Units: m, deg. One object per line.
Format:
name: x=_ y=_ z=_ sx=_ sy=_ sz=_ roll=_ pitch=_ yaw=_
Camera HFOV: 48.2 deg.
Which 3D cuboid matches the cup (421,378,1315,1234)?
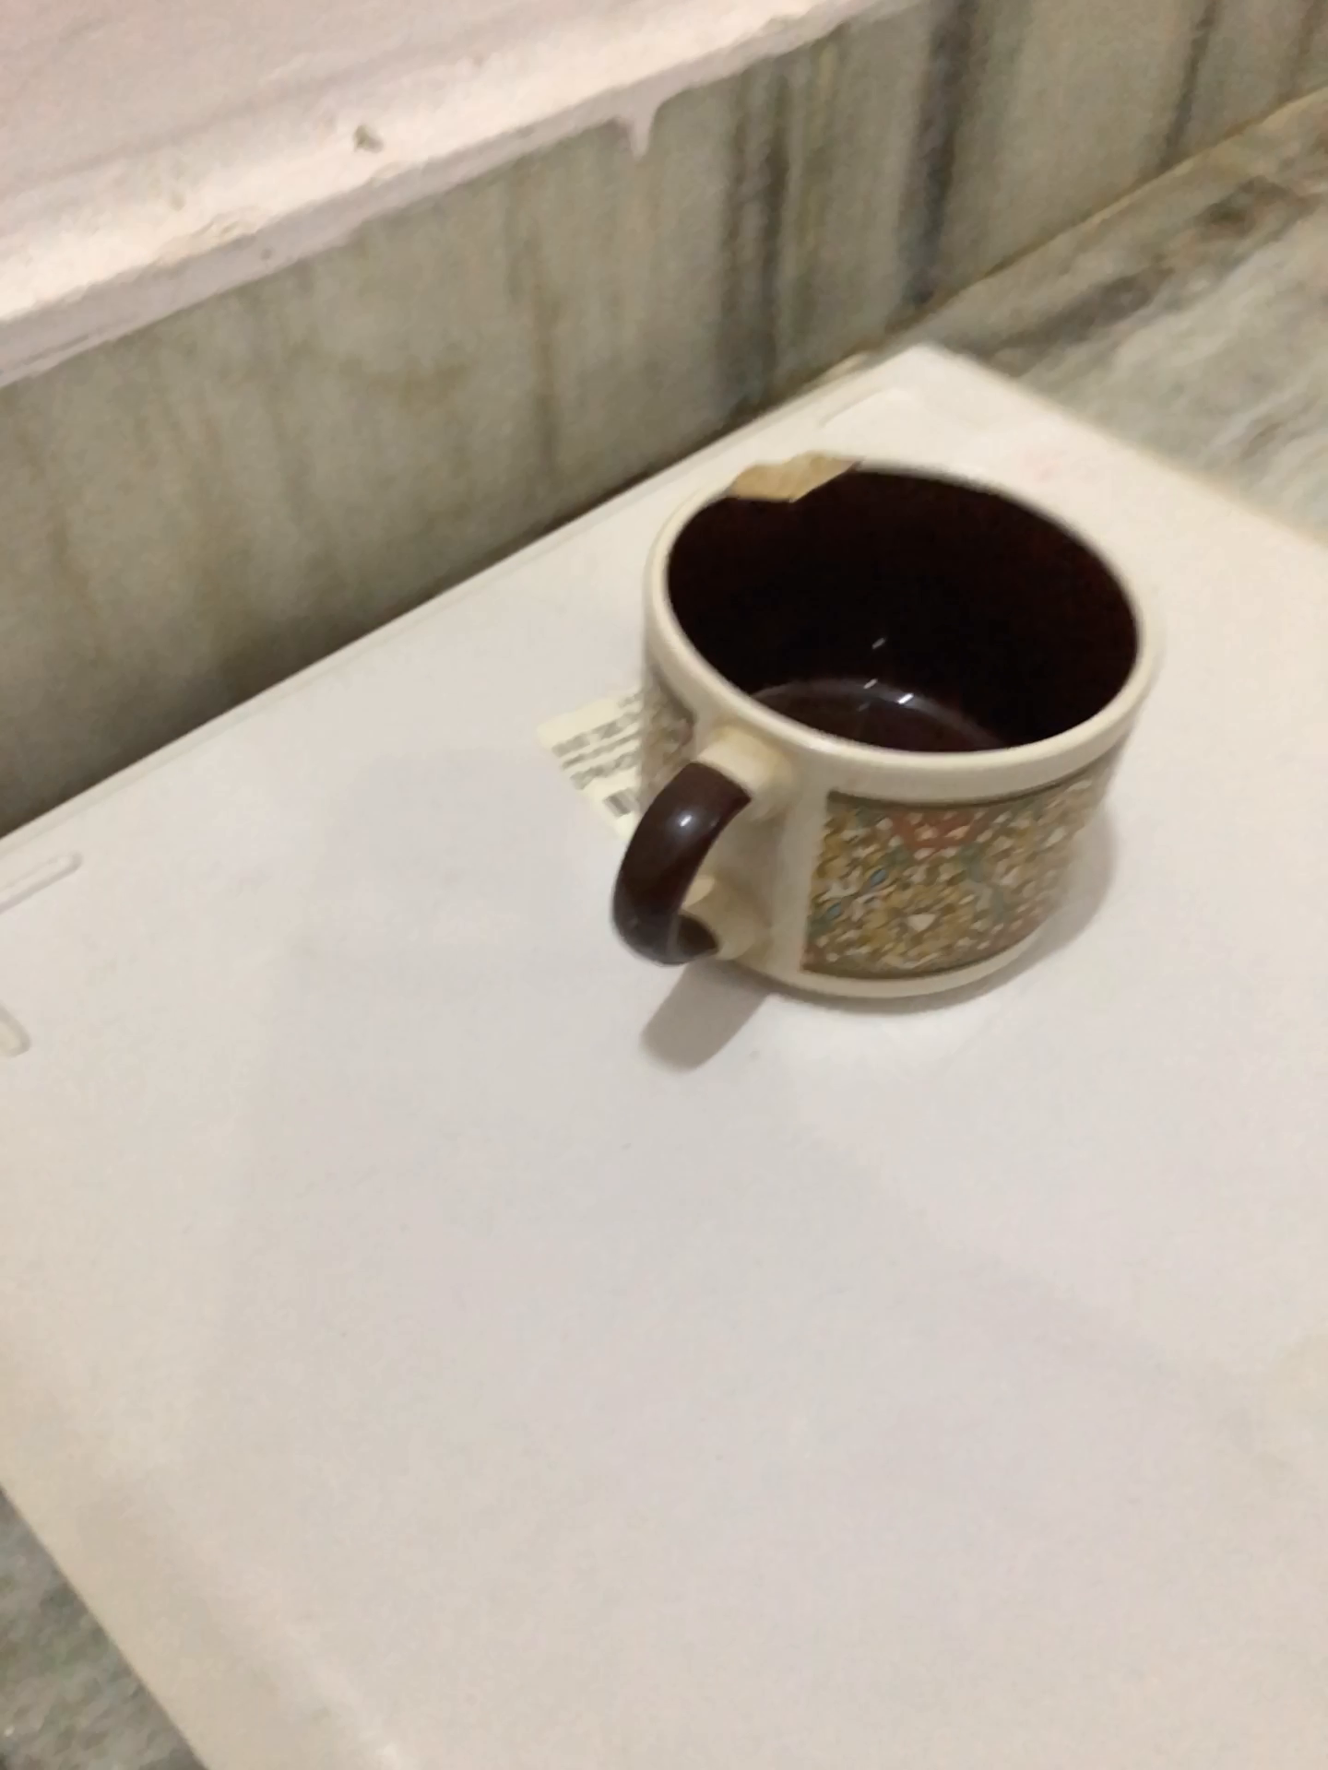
cup: x=0.030 y=-0.018 z=0.229 sx=0.080 sy=0.060 sz=0.101 roll=37 pitch=56 yaw=27
